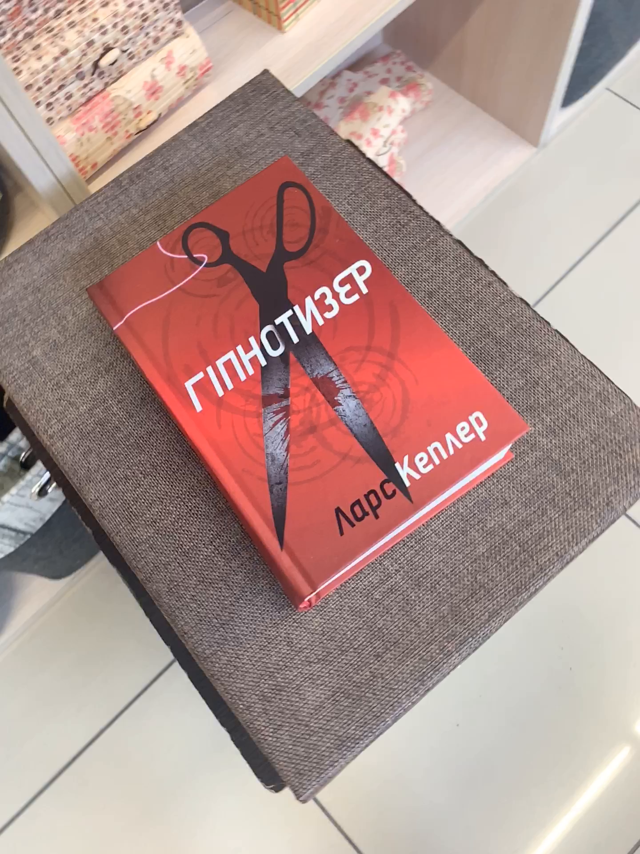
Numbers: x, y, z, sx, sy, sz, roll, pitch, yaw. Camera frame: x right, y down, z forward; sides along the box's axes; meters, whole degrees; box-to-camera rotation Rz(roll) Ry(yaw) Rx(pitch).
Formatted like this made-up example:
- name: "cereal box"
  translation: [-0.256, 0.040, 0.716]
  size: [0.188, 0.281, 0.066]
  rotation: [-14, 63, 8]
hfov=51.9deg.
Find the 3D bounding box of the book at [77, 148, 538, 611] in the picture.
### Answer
- name: "book"
  translation: [-0.011, -0.028, 0.338]
  size: [0.132, 0.050, 0.195]
  rotation: [-36, 73, -6]
